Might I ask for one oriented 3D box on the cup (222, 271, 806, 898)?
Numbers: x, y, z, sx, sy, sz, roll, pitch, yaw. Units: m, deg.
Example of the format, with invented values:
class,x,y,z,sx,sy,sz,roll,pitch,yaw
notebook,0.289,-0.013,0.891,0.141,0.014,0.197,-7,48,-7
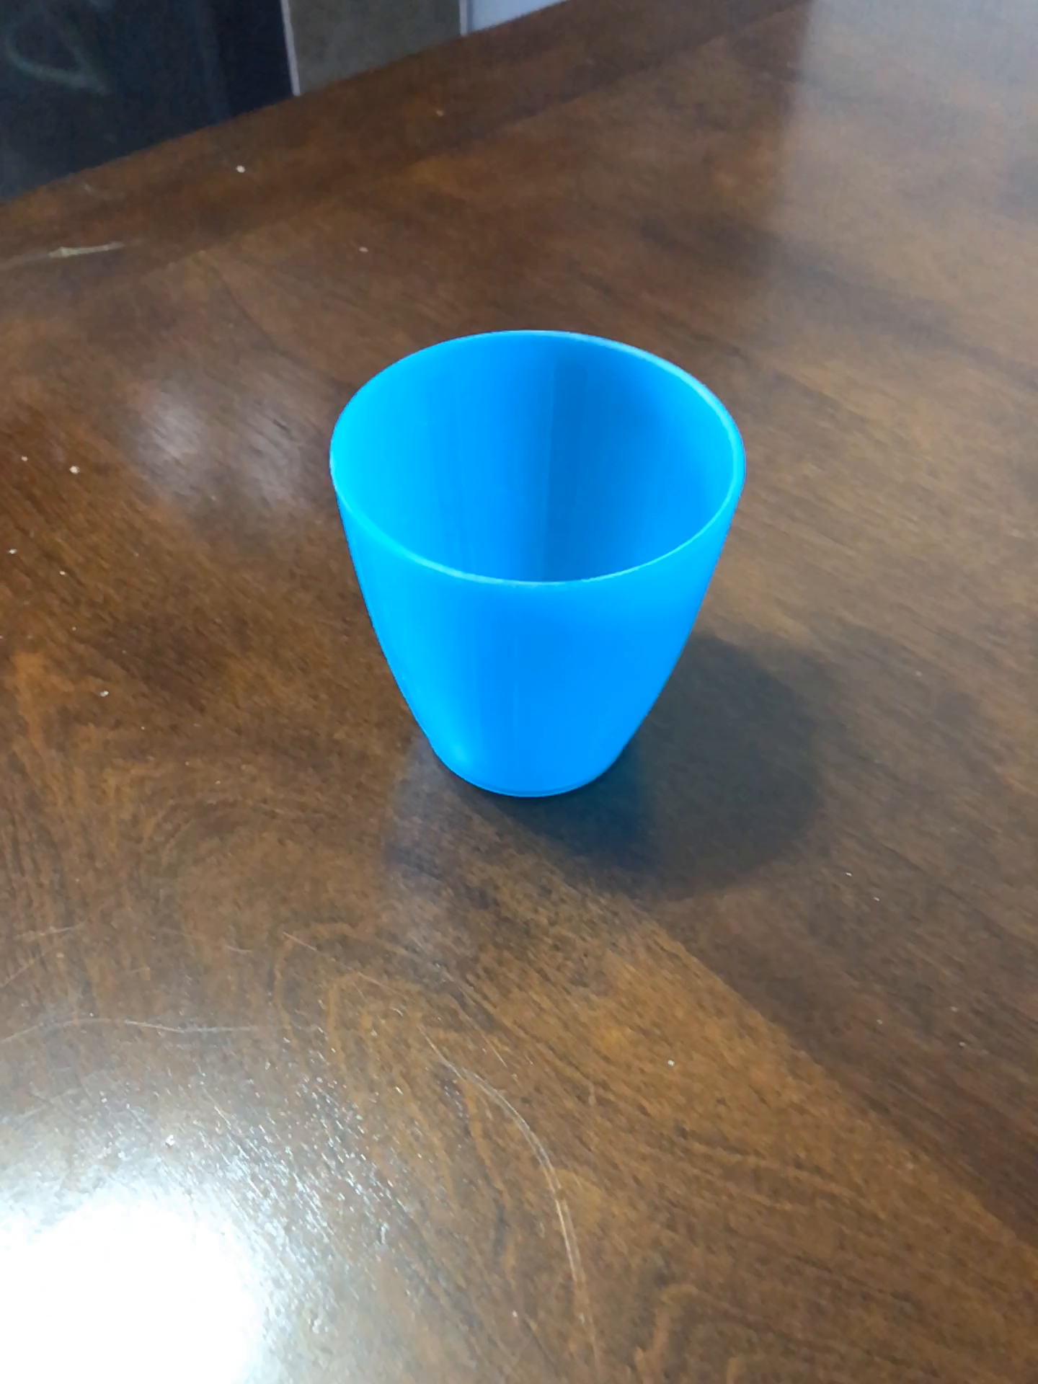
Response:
class,x,y,z,sx,sy,sz,roll,pitch,yaw
cup,0.001,-0.022,0.236,0.080,0.080,0.070,22,52,17
